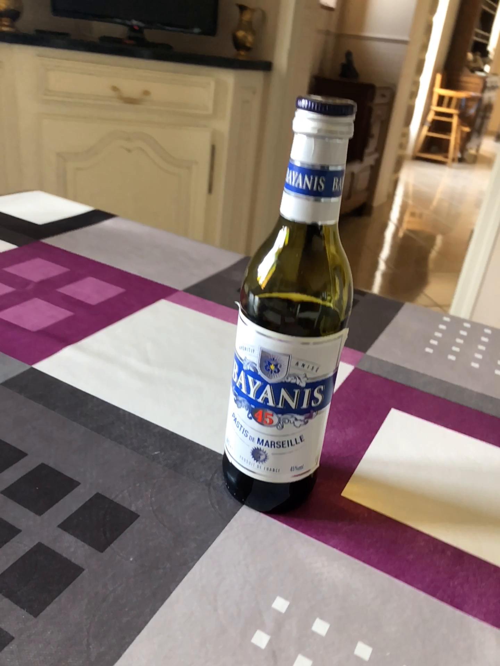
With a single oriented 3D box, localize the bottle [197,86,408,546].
[{"bbox_3d":[0.024,-0.002,0.331,0.070,0.258,0.070,5,27,-3],"label":"bottle"}]
